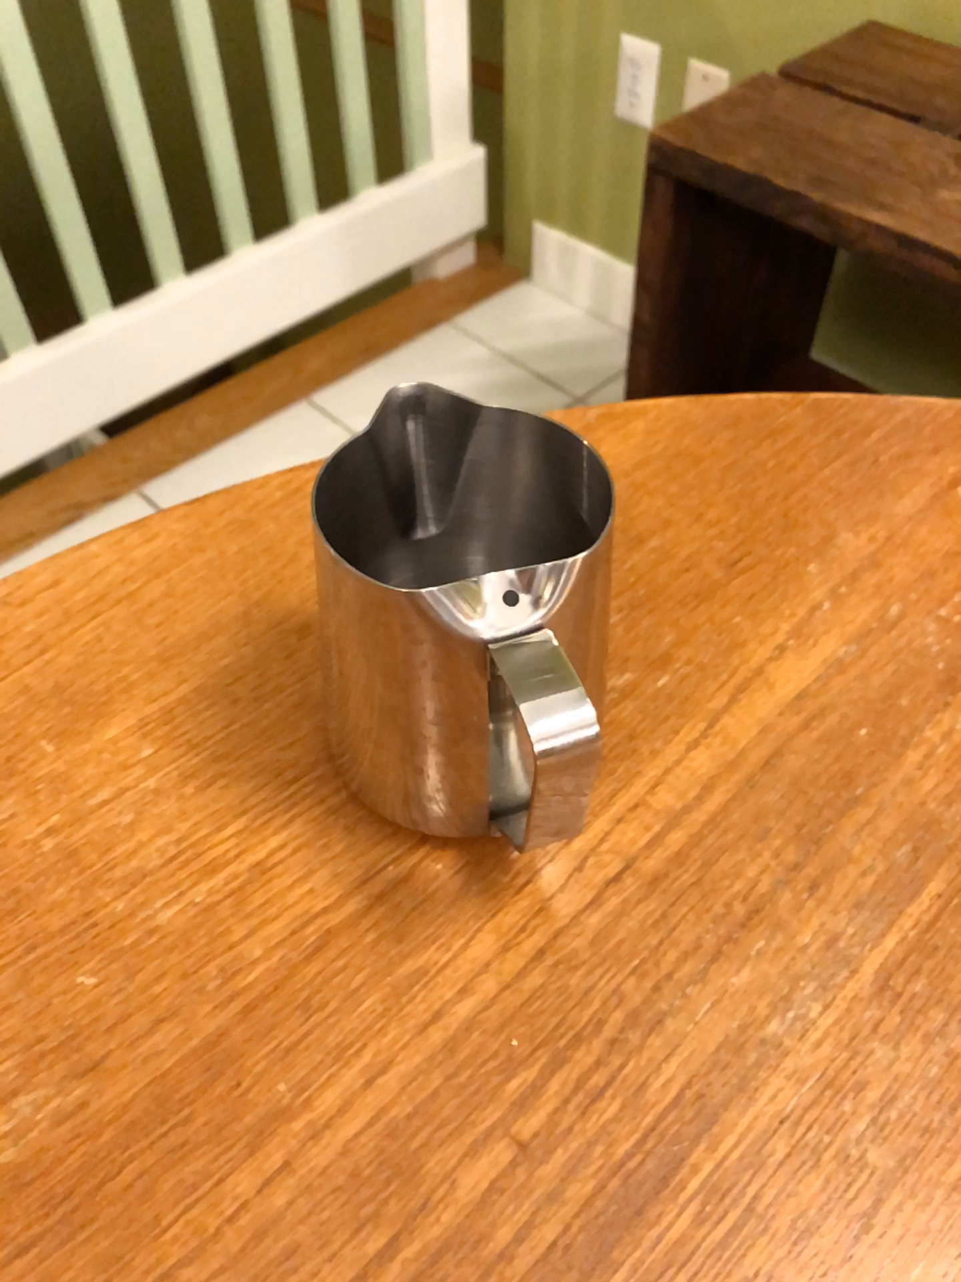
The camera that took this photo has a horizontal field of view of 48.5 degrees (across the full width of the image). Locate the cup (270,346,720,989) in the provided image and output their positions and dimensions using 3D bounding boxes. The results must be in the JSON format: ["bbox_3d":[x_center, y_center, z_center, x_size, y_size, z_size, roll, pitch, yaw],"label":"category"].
[{"bbox_3d":[-0.003,0.006,0.318,0.082,0.114,0.136,-12,50,-9],"label":"cup"}]
